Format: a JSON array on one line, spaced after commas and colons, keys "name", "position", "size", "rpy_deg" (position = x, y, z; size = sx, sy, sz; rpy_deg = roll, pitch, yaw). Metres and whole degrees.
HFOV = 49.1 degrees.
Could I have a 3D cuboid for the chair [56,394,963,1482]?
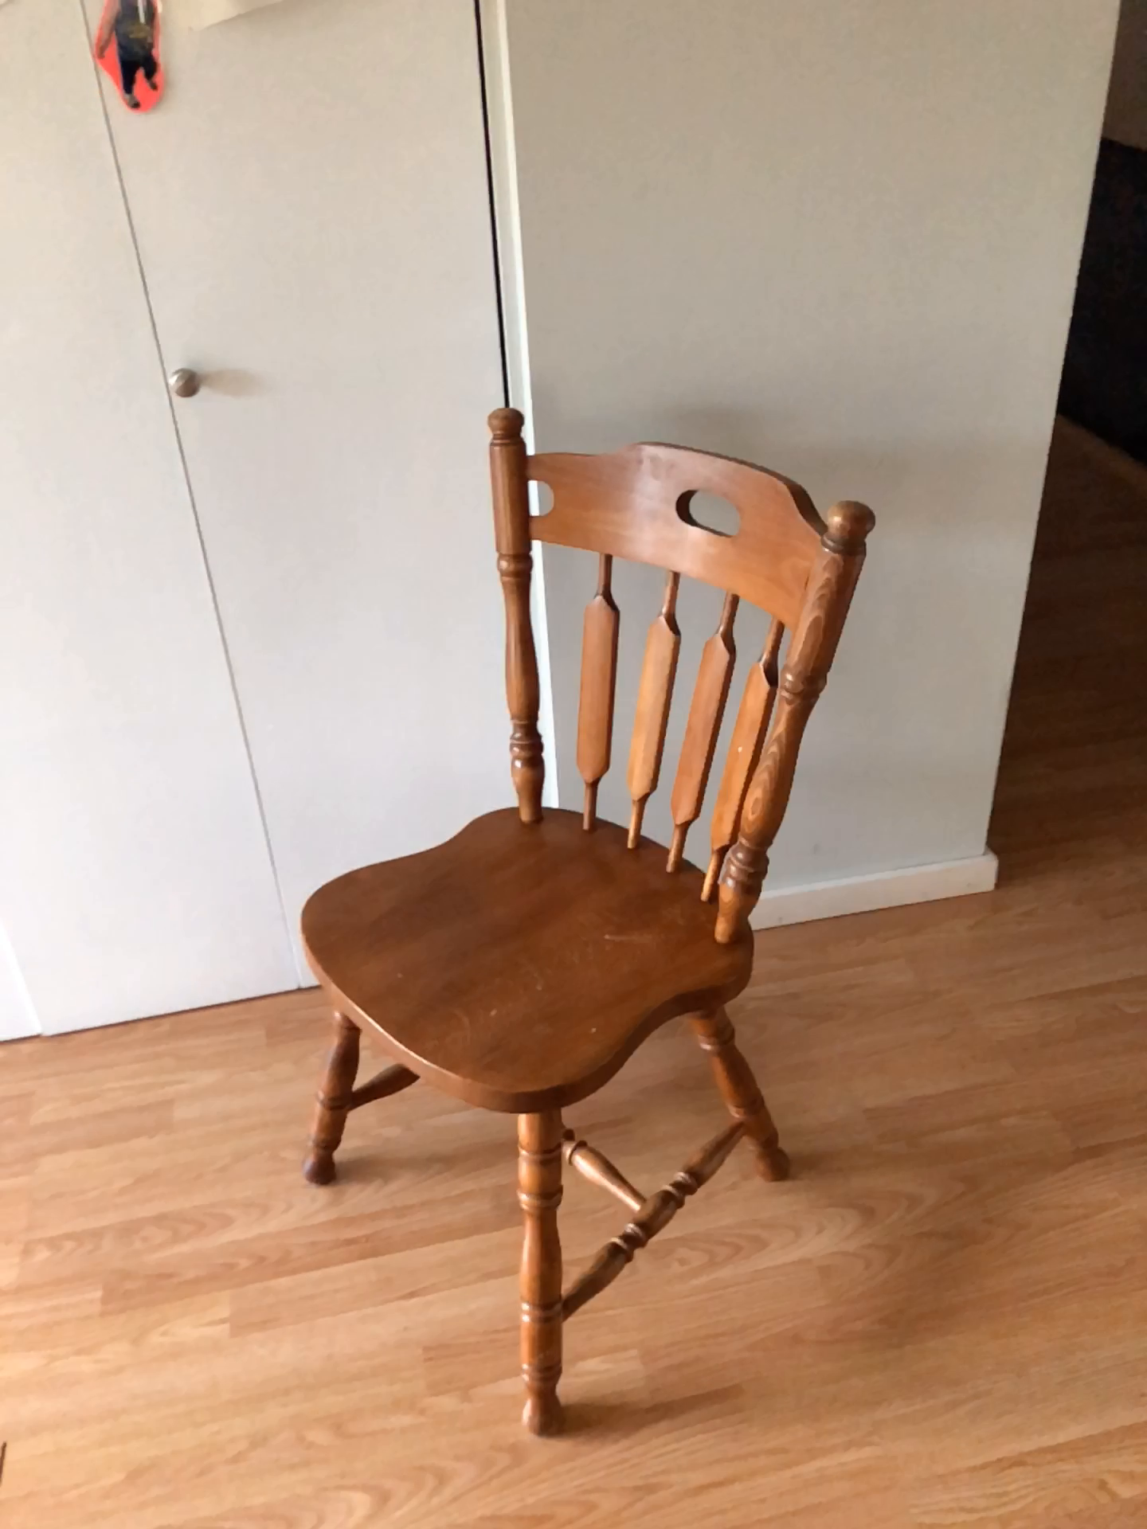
[{"name": "chair", "position": [-0.046, 0.134, 1.344], "size": [0.591, 0.817, 0.561], "rpy_deg": [-28, 40, -33]}]
